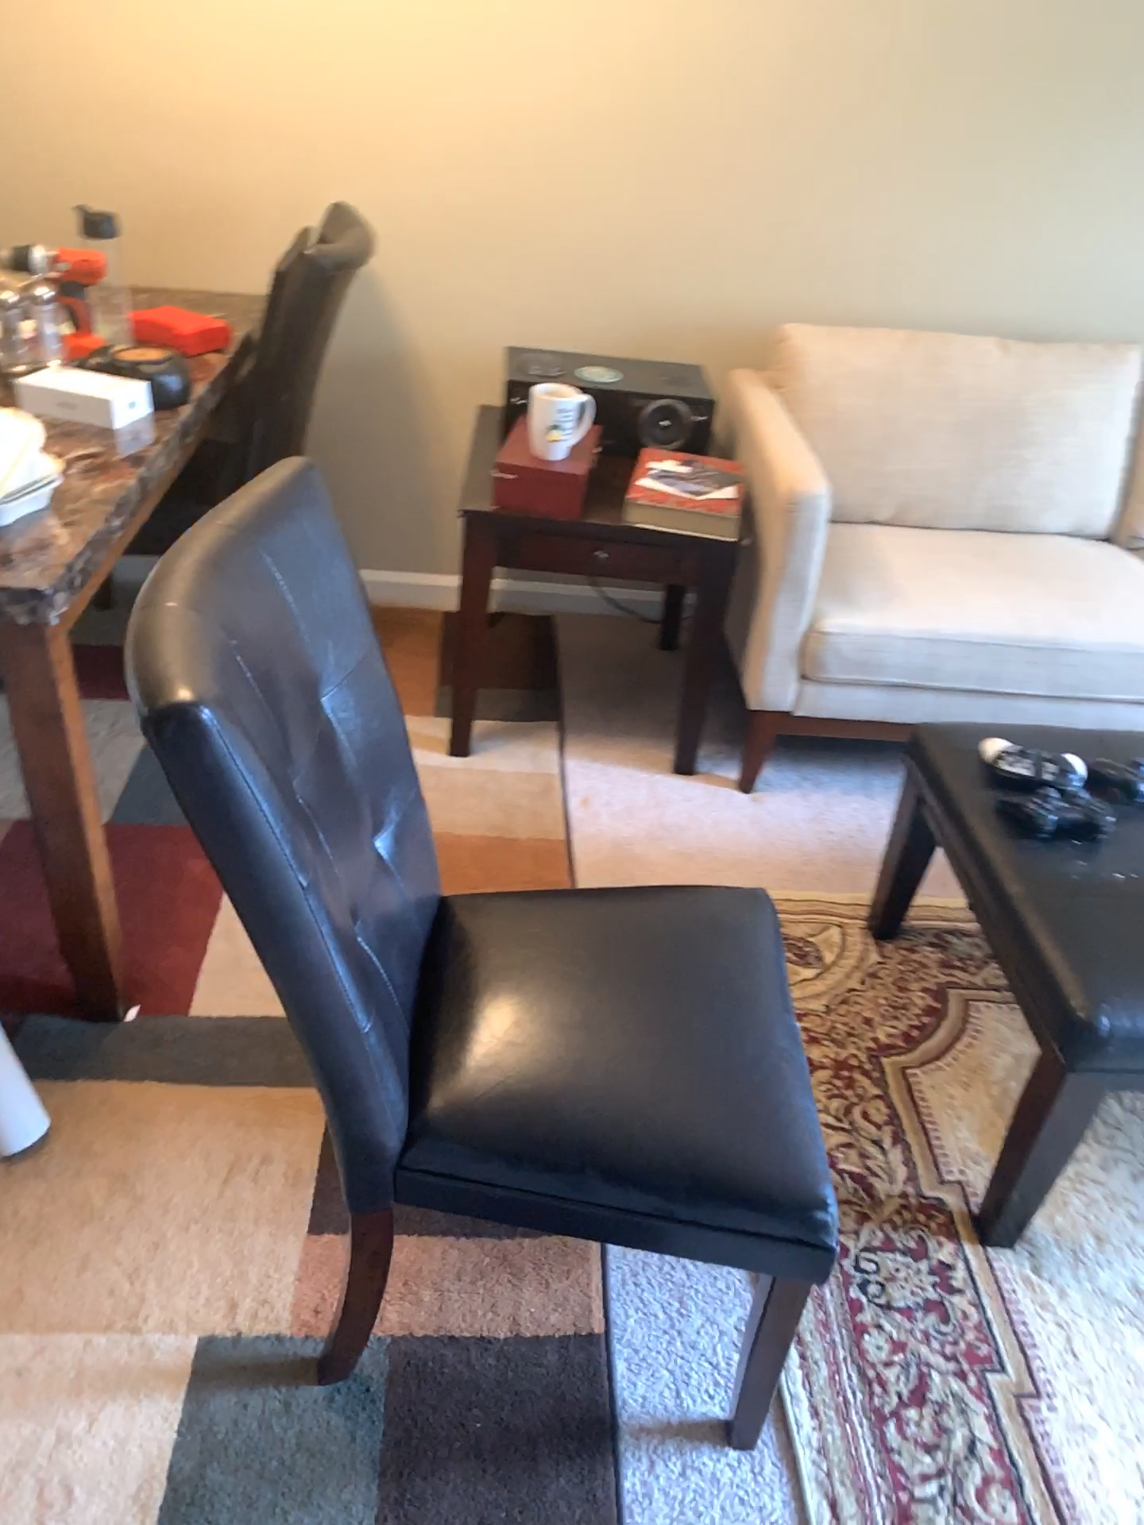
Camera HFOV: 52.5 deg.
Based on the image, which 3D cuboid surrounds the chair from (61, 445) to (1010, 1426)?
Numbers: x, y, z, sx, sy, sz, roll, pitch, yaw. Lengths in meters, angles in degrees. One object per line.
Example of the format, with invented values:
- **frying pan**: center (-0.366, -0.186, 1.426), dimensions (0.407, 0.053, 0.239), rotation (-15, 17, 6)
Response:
- **chair**: center (-0.063, 0.215, 1.249), dimensions (0.650, 0.915, 0.493), rotation (4, 34, -4)
